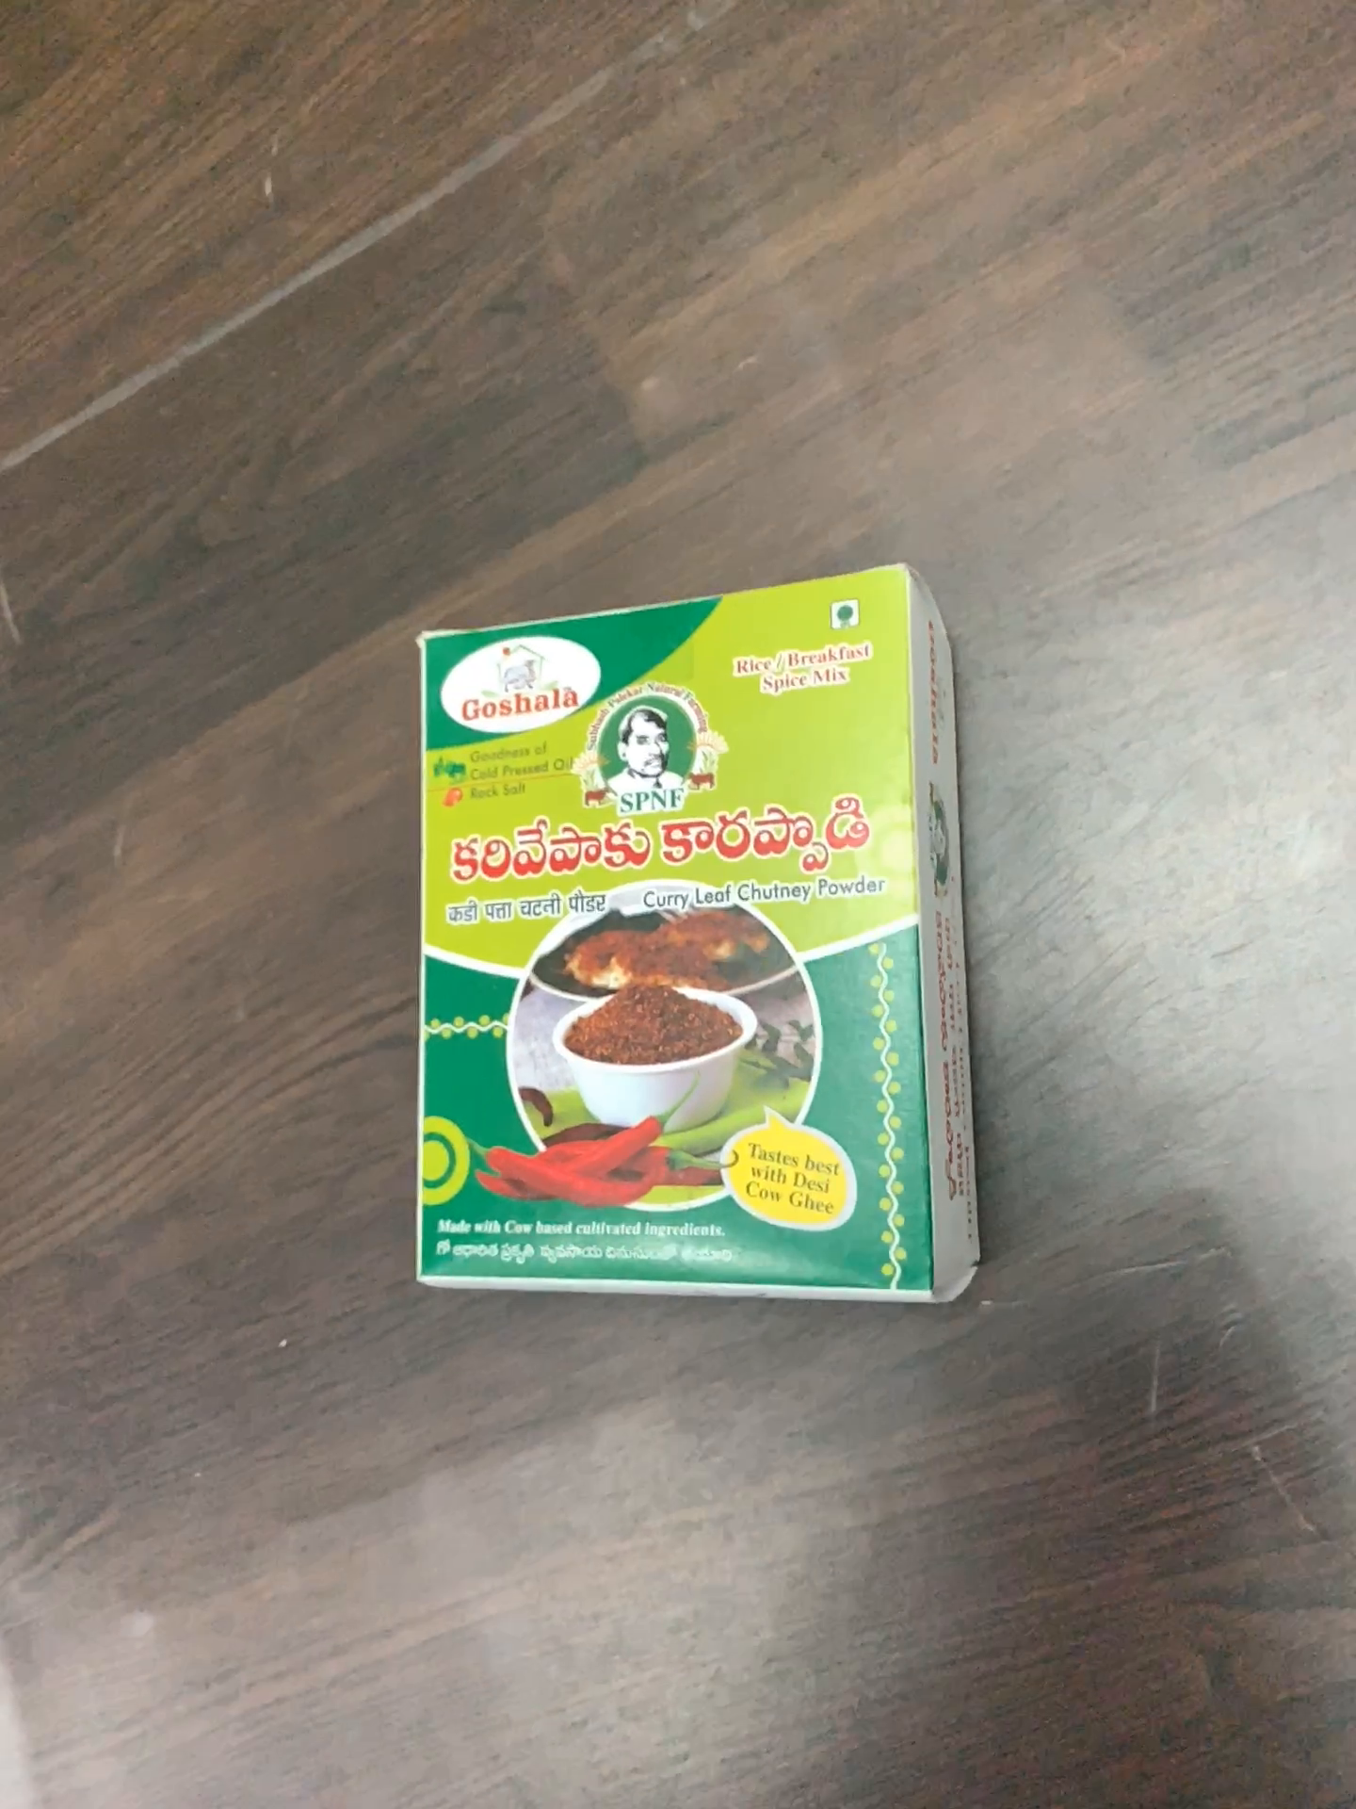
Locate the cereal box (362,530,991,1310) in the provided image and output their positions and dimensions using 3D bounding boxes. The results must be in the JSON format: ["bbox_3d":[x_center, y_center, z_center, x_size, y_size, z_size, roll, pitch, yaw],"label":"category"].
[{"bbox_3d":[-0.001,0.006,0.251,0.100,0.040,0.120,-4,80,21],"label":"cereal box"}]
